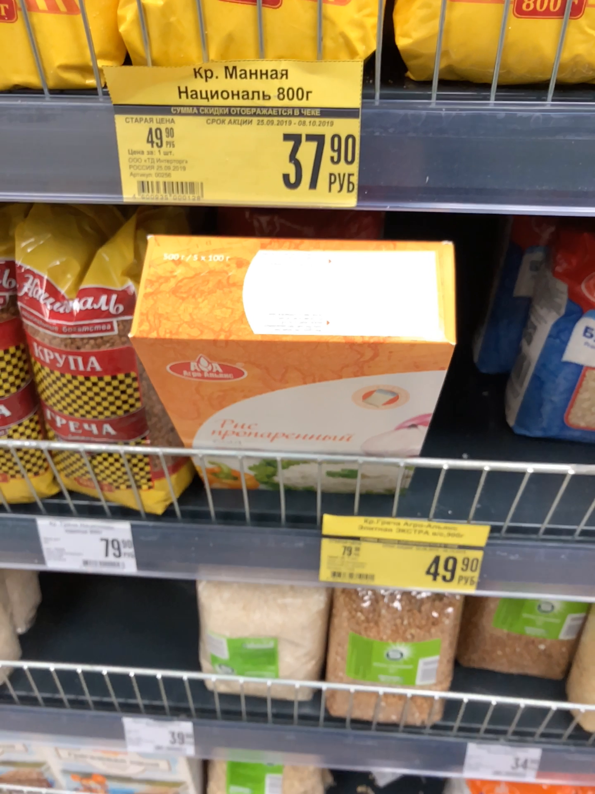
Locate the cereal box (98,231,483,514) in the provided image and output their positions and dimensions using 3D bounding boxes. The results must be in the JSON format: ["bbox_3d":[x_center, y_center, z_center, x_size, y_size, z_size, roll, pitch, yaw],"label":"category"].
[{"bbox_3d":[0.000,0.002,0.340,0.140,0.189,0.060,1,64,2],"label":"cereal box"}]
